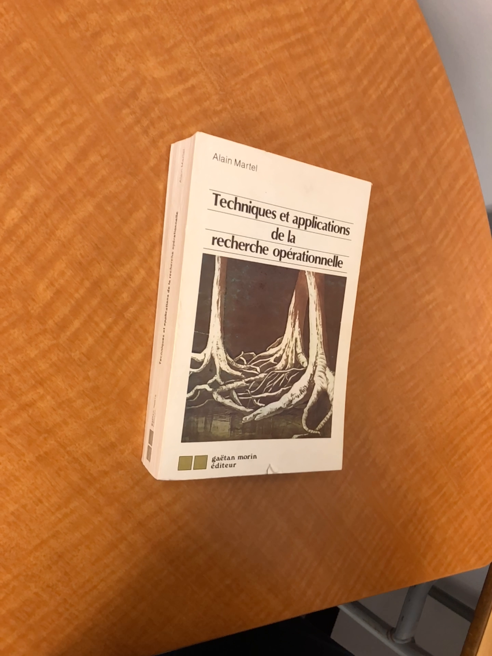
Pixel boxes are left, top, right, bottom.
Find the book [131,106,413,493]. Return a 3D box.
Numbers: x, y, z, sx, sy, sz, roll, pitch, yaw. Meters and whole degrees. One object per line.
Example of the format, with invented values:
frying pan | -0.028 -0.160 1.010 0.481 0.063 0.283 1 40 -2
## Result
book | 0.021 -0.012 0.396 0.171 0.070 0.230 5 93 -31
